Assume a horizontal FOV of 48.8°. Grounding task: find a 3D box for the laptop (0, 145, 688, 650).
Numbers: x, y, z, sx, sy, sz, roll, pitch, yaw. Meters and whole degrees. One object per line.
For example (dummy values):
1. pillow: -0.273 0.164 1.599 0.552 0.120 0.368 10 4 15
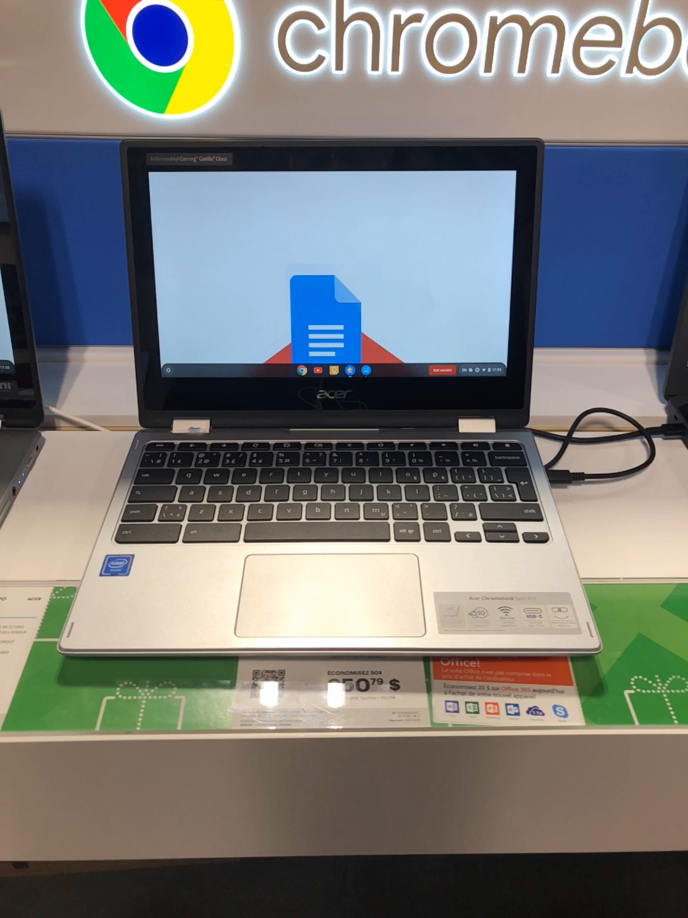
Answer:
1. laptop: -0.007 -0.054 0.456 0.284 0.181 0.274 0 38 -1
